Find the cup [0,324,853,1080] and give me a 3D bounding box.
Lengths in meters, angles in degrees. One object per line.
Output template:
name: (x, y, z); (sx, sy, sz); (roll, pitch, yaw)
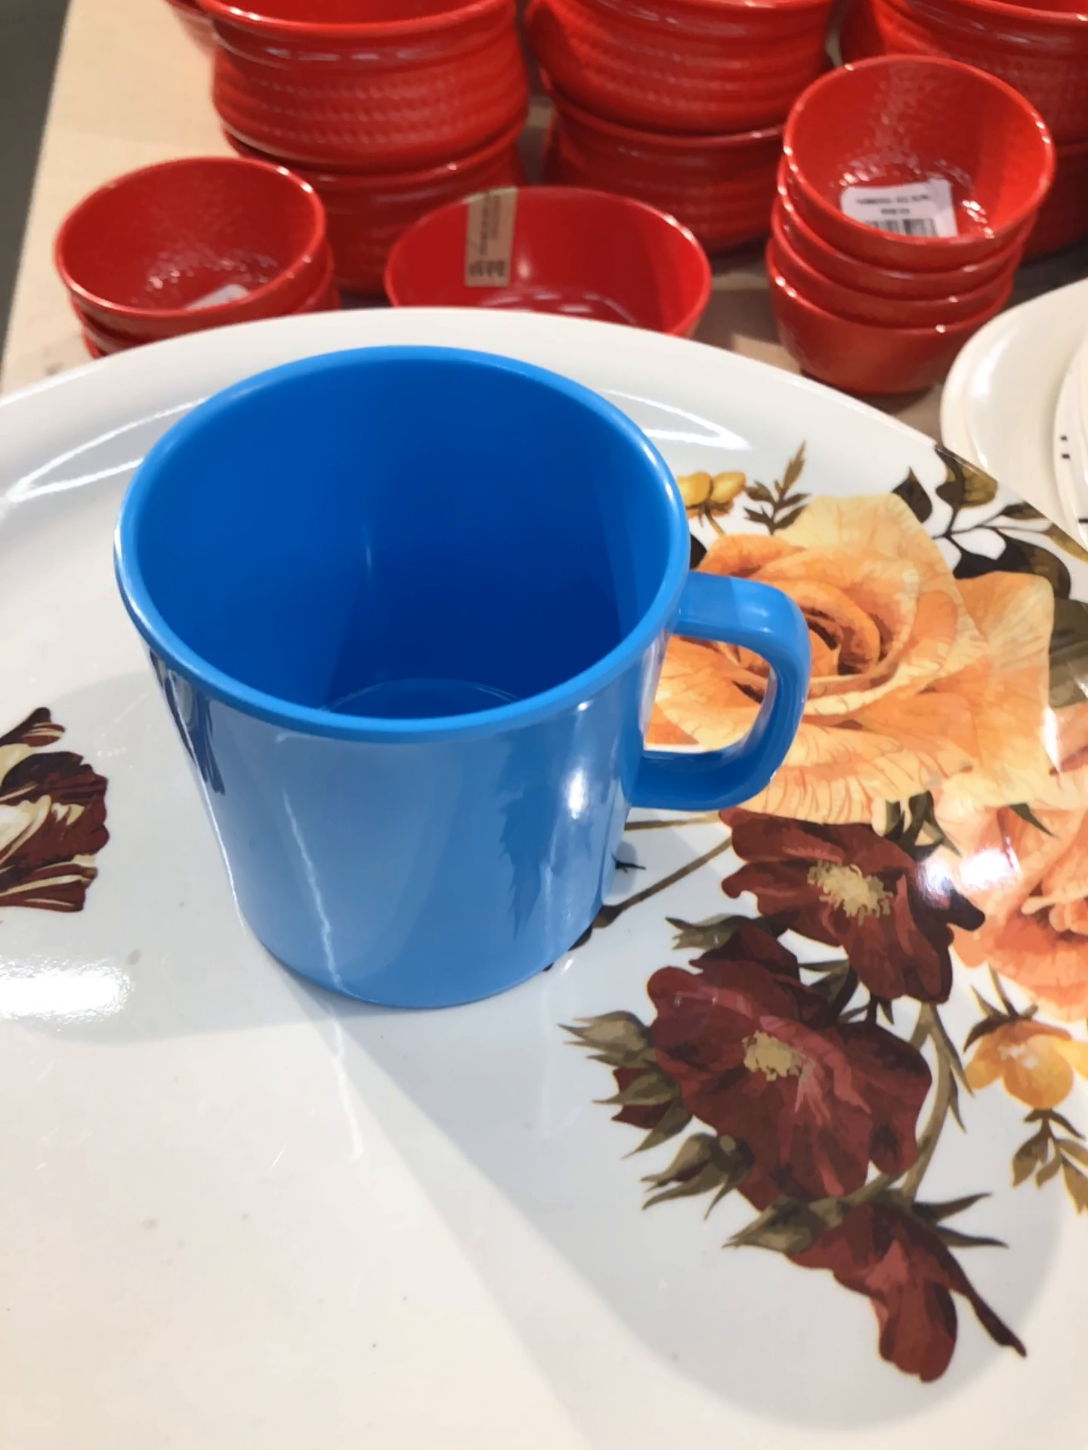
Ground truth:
cup: (-0.011, -0.002, 0.210); (0.110, 0.090, 0.080); (7, 52, 5)
